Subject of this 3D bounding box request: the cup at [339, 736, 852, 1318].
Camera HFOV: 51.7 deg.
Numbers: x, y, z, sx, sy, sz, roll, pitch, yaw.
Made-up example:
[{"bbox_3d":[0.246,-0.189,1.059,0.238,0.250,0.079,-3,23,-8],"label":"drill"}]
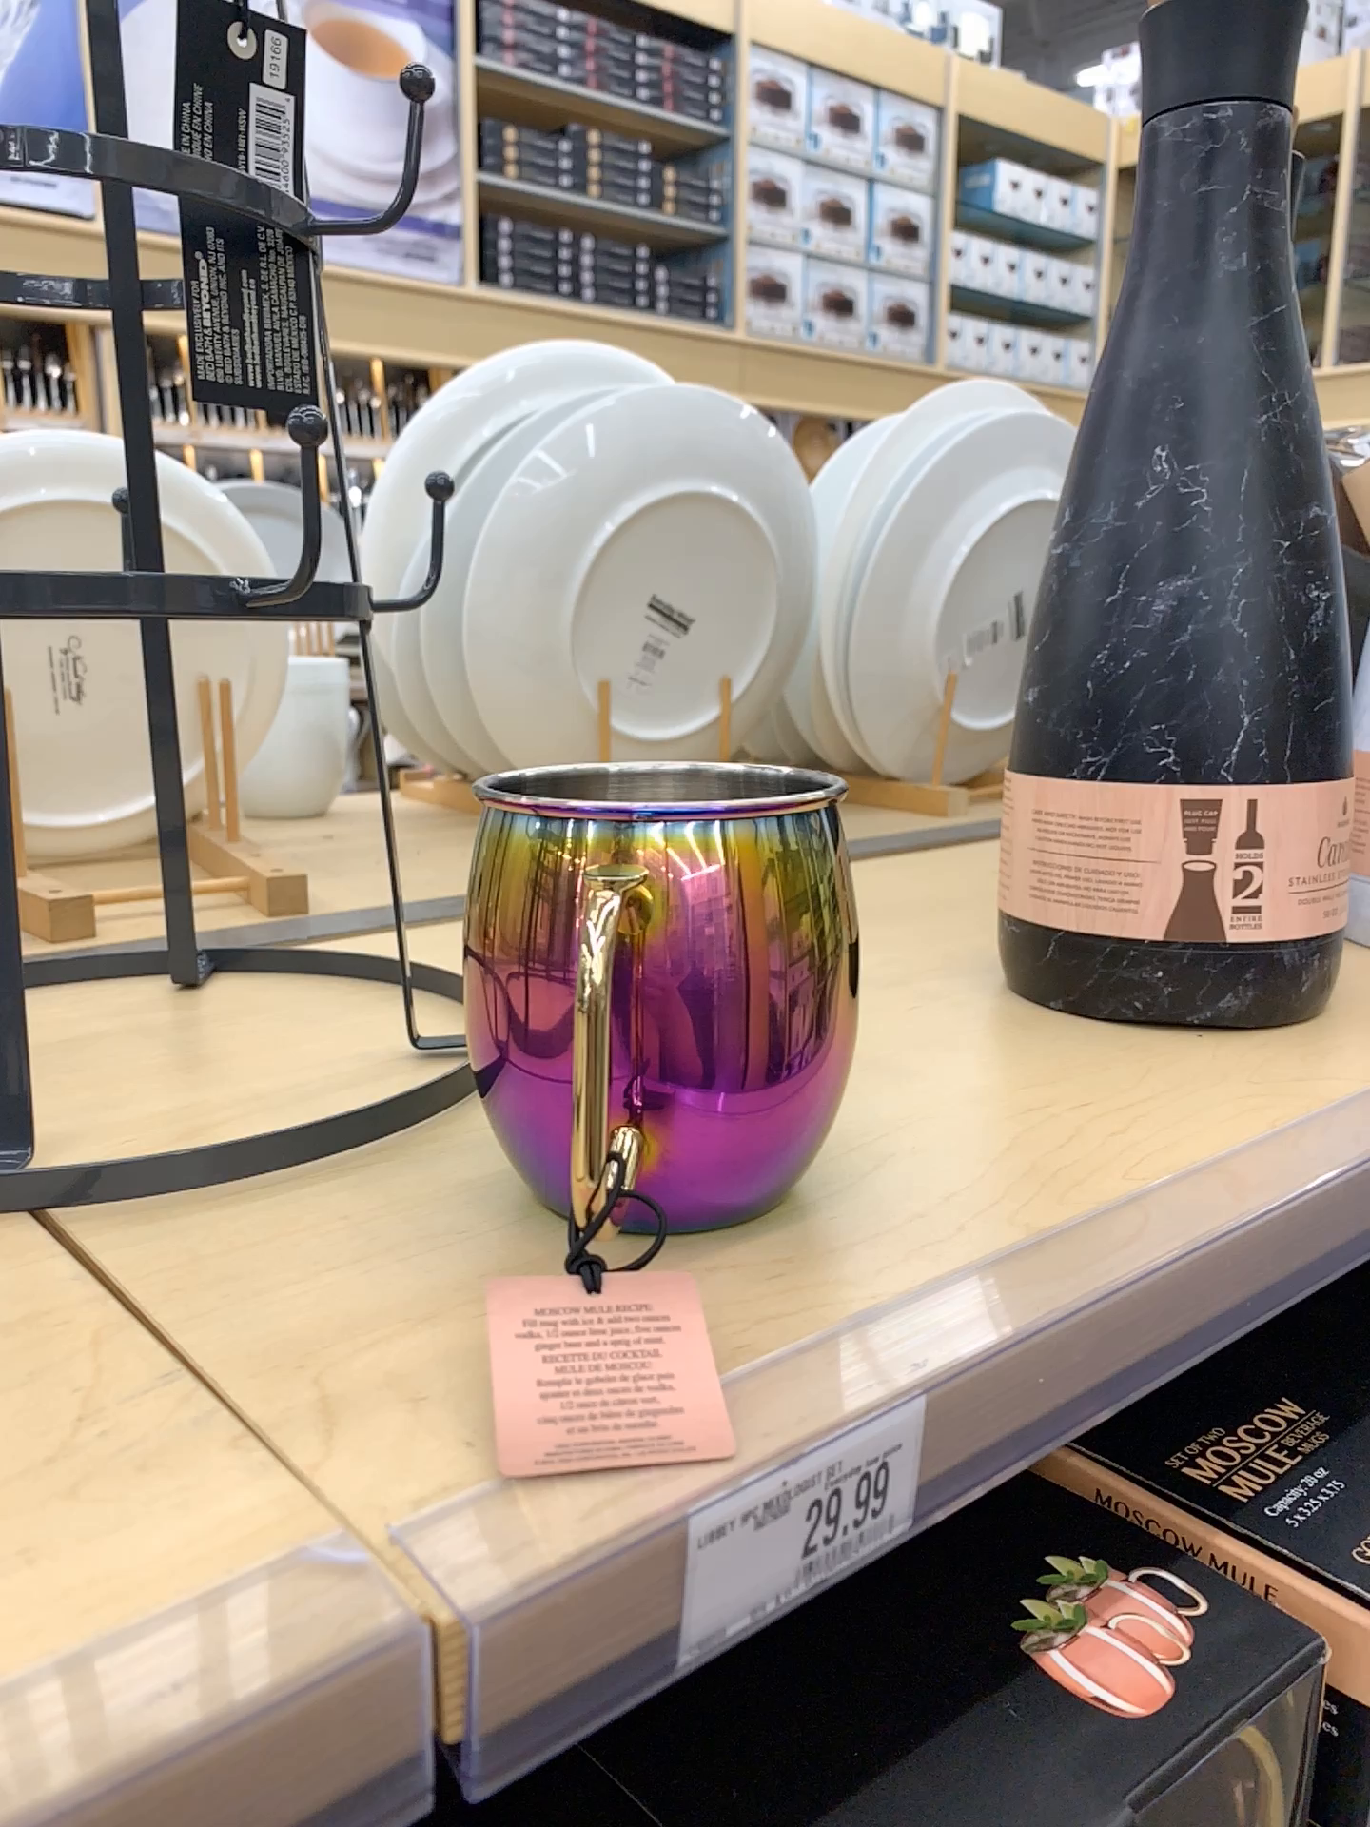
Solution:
[{"bbox_3d":[-0.009,0.013,0.314,0.084,0.089,0.131,2,13,8],"label":"cup"}]
